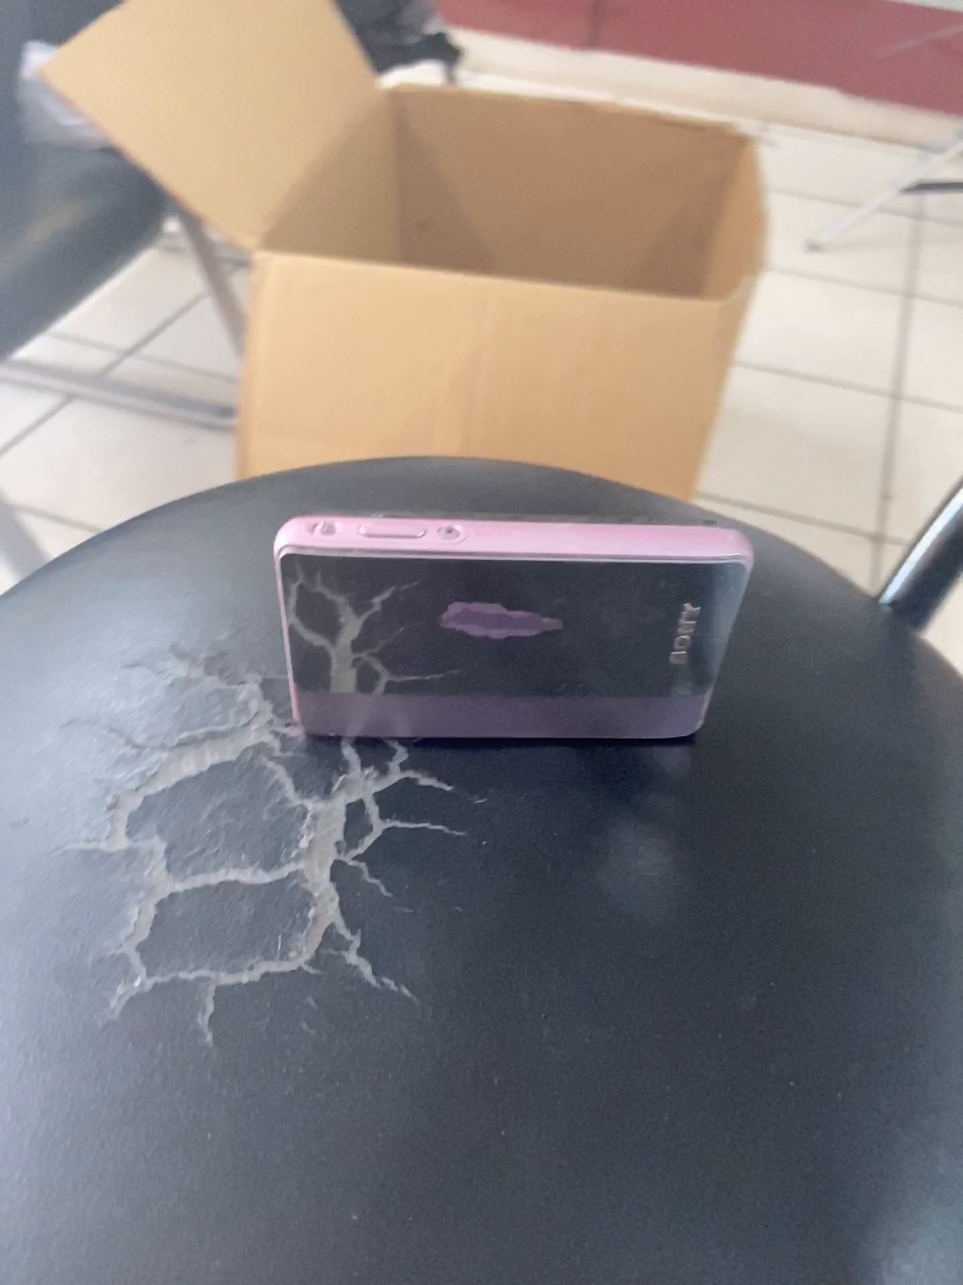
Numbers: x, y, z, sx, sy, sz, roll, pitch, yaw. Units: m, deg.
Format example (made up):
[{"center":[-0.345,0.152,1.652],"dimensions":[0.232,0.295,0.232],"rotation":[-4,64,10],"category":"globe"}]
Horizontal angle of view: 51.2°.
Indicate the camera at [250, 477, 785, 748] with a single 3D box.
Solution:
[{"center":[0.006,-0.005,0.215],"dimensions":[0.100,0.050,0.030],"rotation":[0,45,-4],"category":"camera"}]
